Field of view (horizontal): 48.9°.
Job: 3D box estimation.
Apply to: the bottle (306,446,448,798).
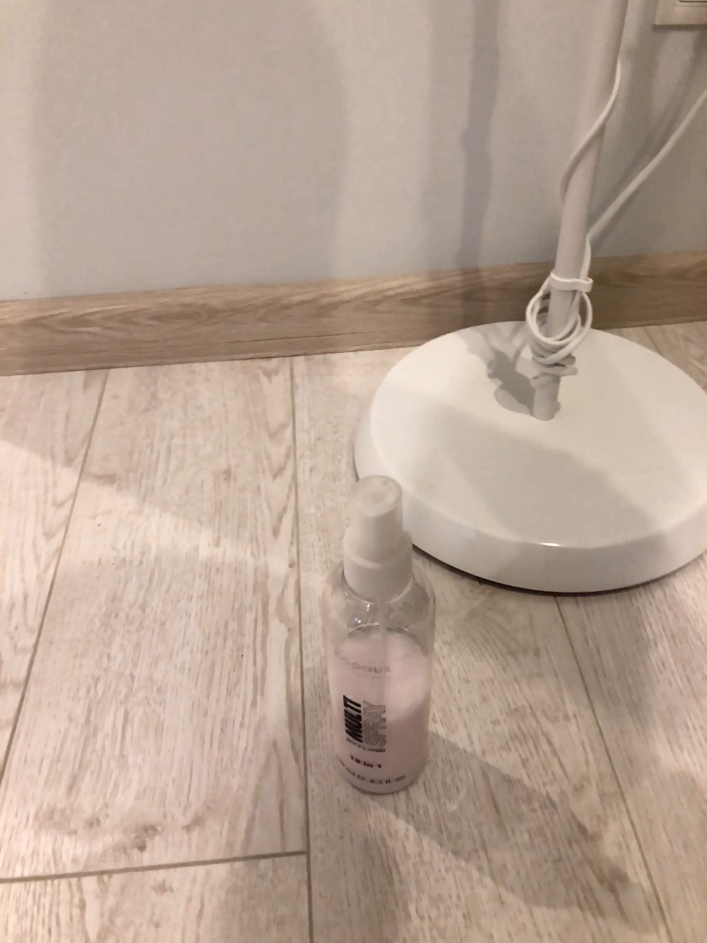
[{"bbox_3d":[0.009,0.077,0.352,0.049,0.183,0.055,-3,42,-2],"label":"bottle"}]
